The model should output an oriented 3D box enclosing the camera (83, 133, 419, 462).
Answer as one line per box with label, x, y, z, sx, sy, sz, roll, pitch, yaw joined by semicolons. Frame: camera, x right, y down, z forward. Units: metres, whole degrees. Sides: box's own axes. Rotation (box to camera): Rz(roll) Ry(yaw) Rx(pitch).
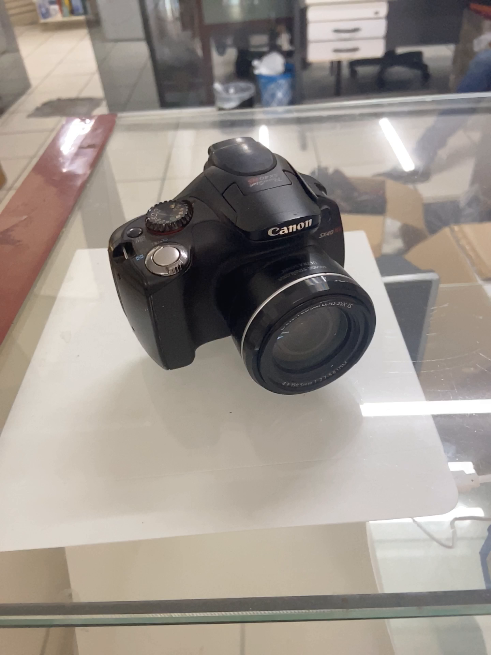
camera;-0.005;-0.028;0.284;0.120;0.089;0.141;-20;43;-16
